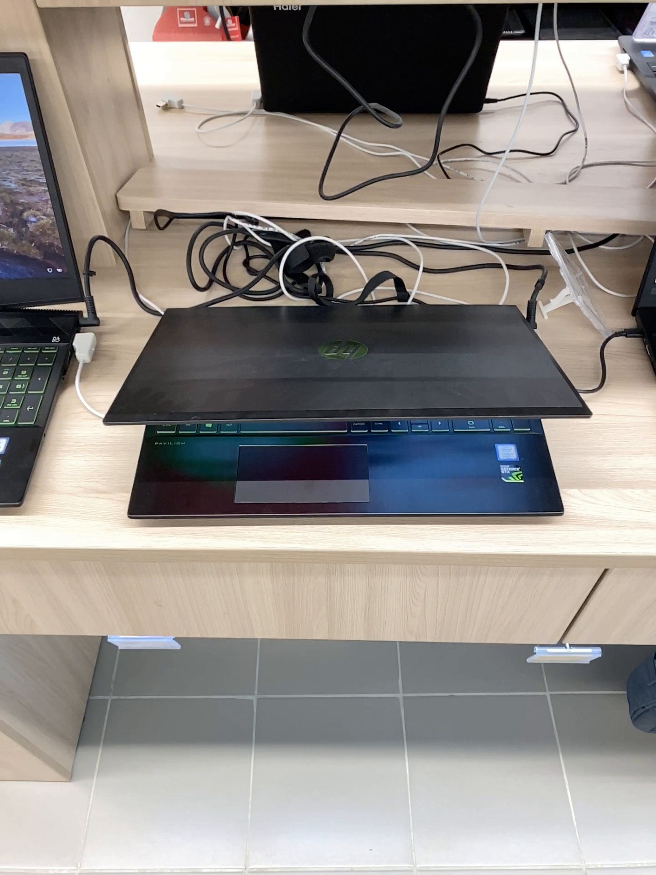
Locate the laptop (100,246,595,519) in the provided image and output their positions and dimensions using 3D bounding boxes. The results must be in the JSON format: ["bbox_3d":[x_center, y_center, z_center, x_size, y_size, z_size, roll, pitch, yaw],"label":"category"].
[{"bbox_3d":[0.014,-0.058,0.597,0.361,0.092,0.243,0,51,-1],"label":"laptop"}]
